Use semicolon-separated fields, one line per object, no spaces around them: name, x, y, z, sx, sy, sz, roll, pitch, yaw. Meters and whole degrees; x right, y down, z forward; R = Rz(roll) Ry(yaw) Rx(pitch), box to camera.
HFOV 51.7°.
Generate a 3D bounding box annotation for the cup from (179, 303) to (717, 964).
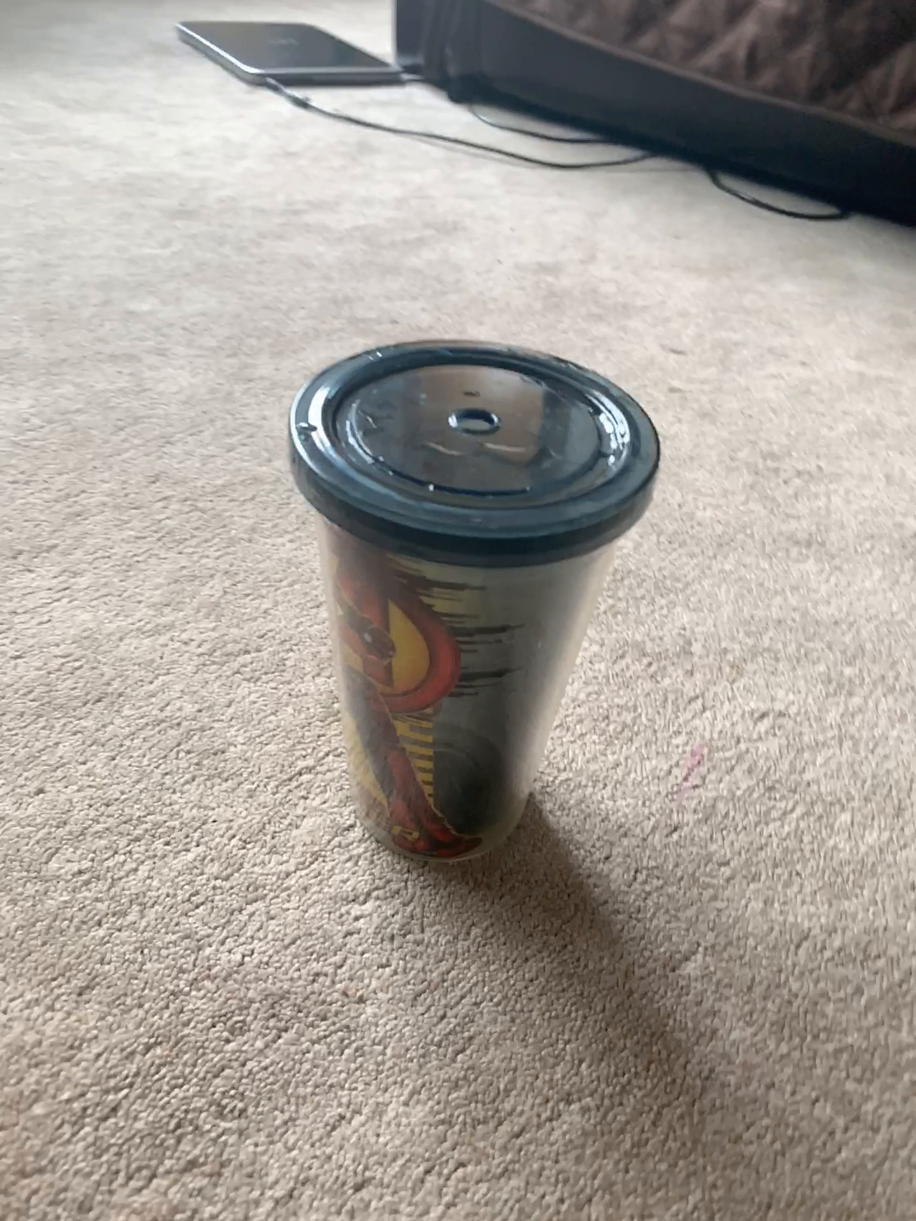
cup;-0.003;0.003;0.282;0.100;0.139;0.101;4;39;-3
